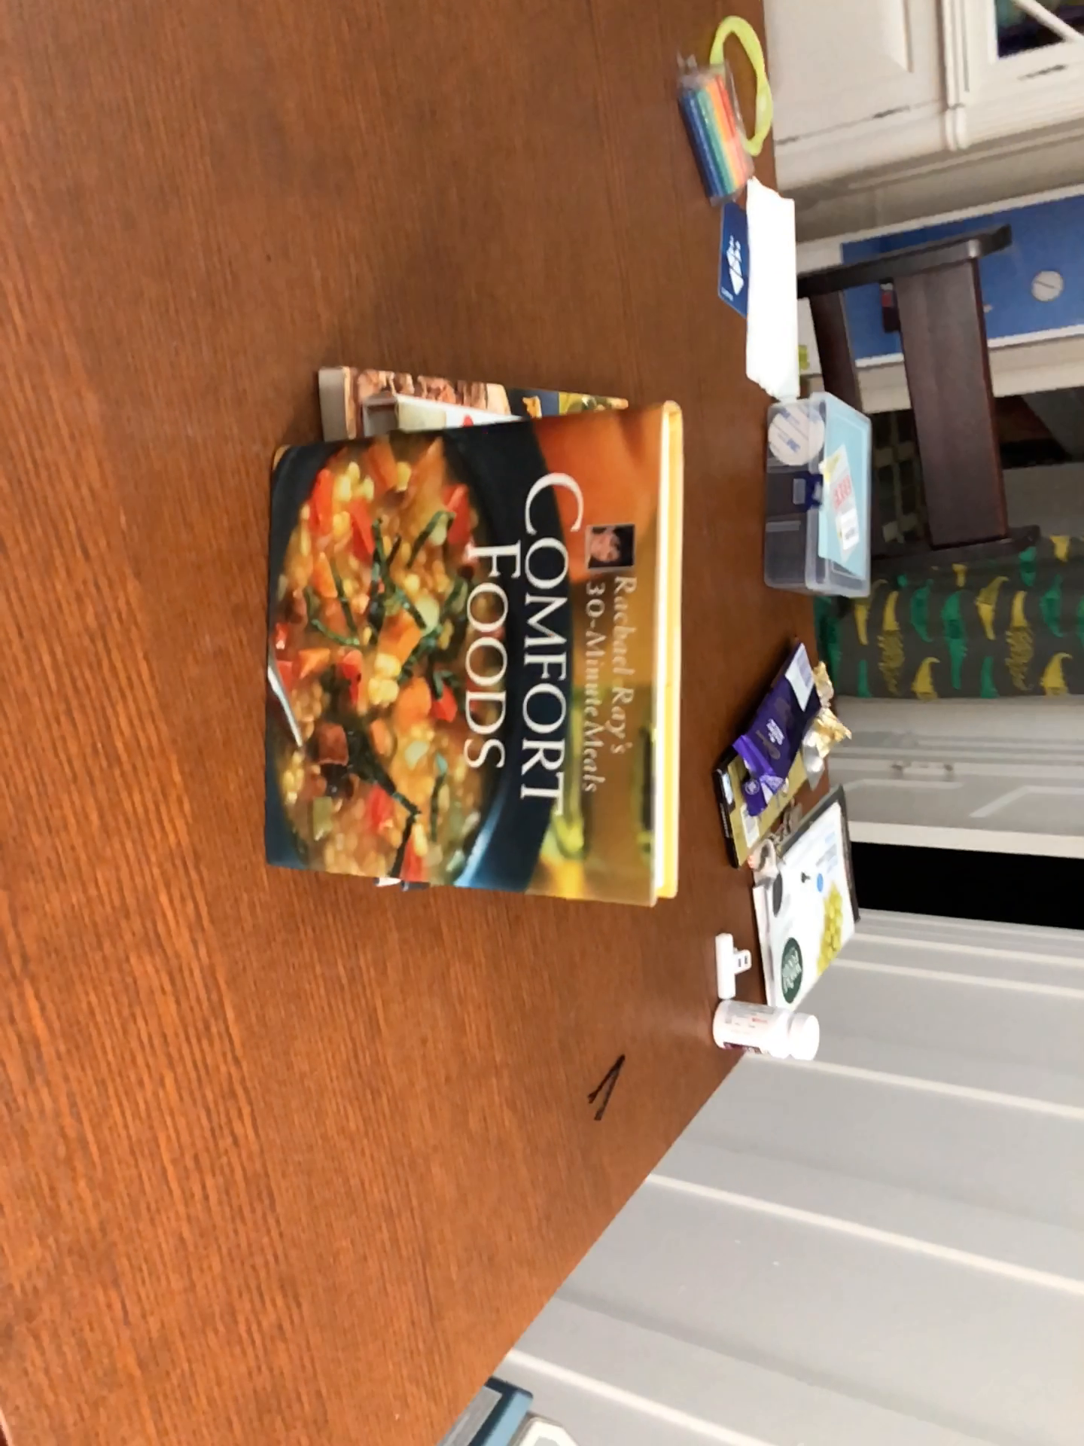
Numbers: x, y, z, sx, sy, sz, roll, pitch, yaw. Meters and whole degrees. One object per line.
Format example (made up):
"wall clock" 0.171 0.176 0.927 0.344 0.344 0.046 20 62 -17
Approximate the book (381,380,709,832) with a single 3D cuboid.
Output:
"book" 0.018 -0.070 0.703 0.282 0.030 0.220 -11 100 -55

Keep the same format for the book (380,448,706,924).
"book" 0.015 -0.019 0.672 0.282 0.030 0.220 -2 92 -55

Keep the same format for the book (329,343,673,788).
"book" -0.007 -0.097 0.714 0.282 0.030 0.220 -15 103 -54

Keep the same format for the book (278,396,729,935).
"book" -0.025 -0.026 0.529 0.030 0.209 0.210 3 90 -59
